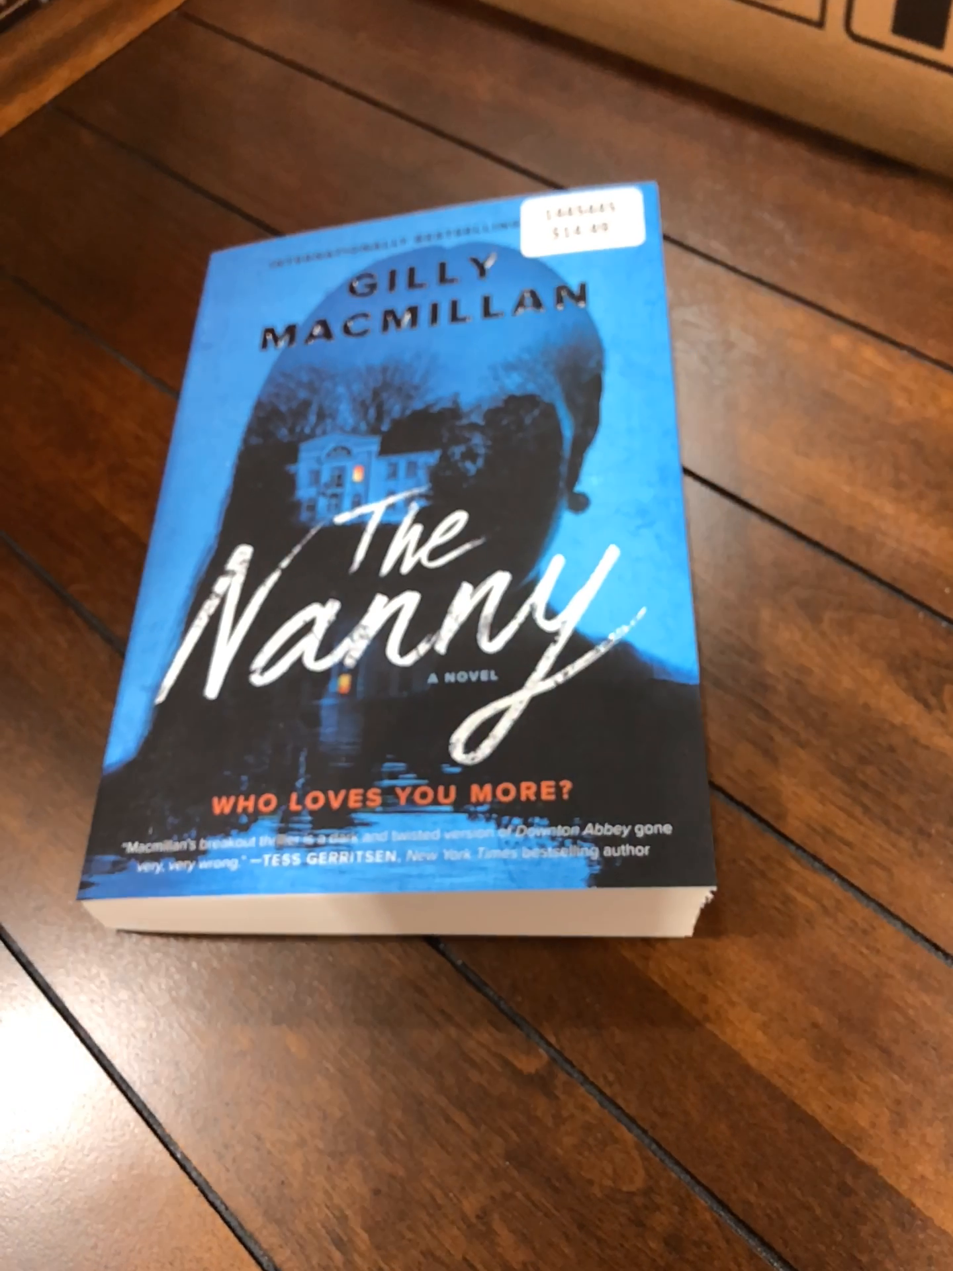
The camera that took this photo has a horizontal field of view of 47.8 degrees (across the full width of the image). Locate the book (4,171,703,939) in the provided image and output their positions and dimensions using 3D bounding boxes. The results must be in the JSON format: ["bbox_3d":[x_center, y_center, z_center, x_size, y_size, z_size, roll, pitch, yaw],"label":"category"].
[{"bbox_3d":[-0.022,-0.033,0.312,0.160,0.040,0.230,-4,58,13],"label":"book"}]
